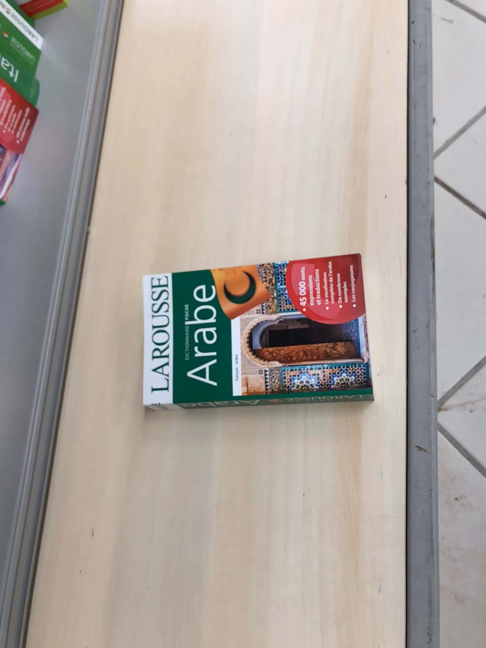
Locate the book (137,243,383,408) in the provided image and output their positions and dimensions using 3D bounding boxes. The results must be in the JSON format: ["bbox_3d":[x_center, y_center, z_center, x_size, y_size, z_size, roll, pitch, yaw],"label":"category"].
[{"bbox_3d":[0.014,0.005,0.430,0.182,0.046,0.111,-4,71,14],"label":"book"}]
